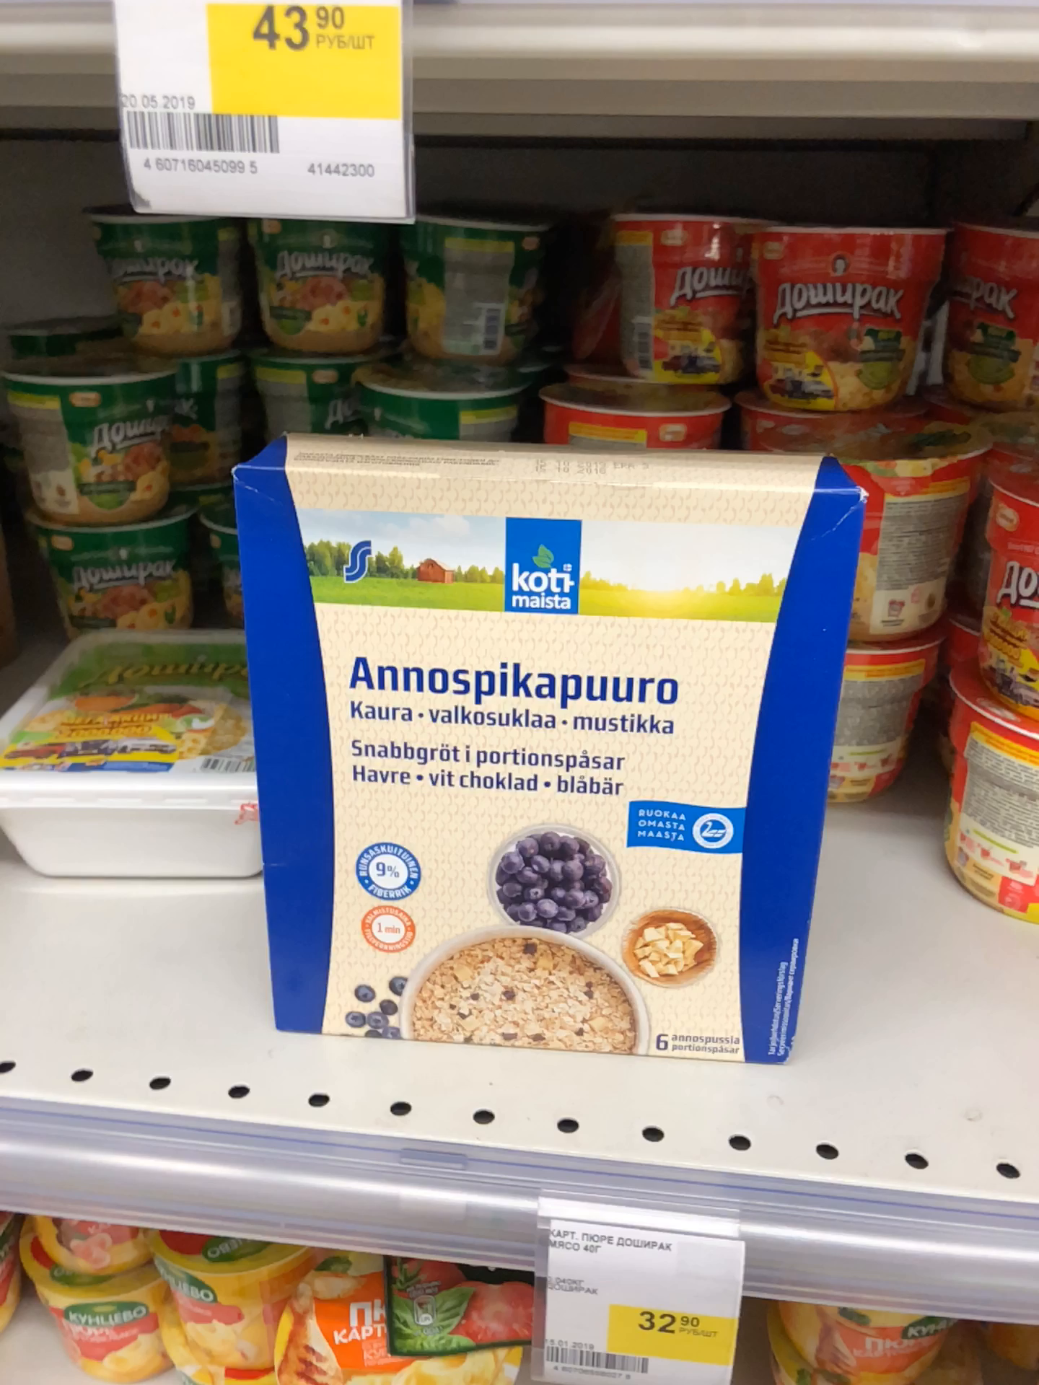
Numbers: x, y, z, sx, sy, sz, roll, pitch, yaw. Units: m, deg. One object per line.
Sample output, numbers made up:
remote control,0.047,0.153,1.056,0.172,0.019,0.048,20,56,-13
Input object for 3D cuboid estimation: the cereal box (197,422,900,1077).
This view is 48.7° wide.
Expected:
cereal box,0.007,0.018,0.336,0.170,0.179,0.050,2,23,5
